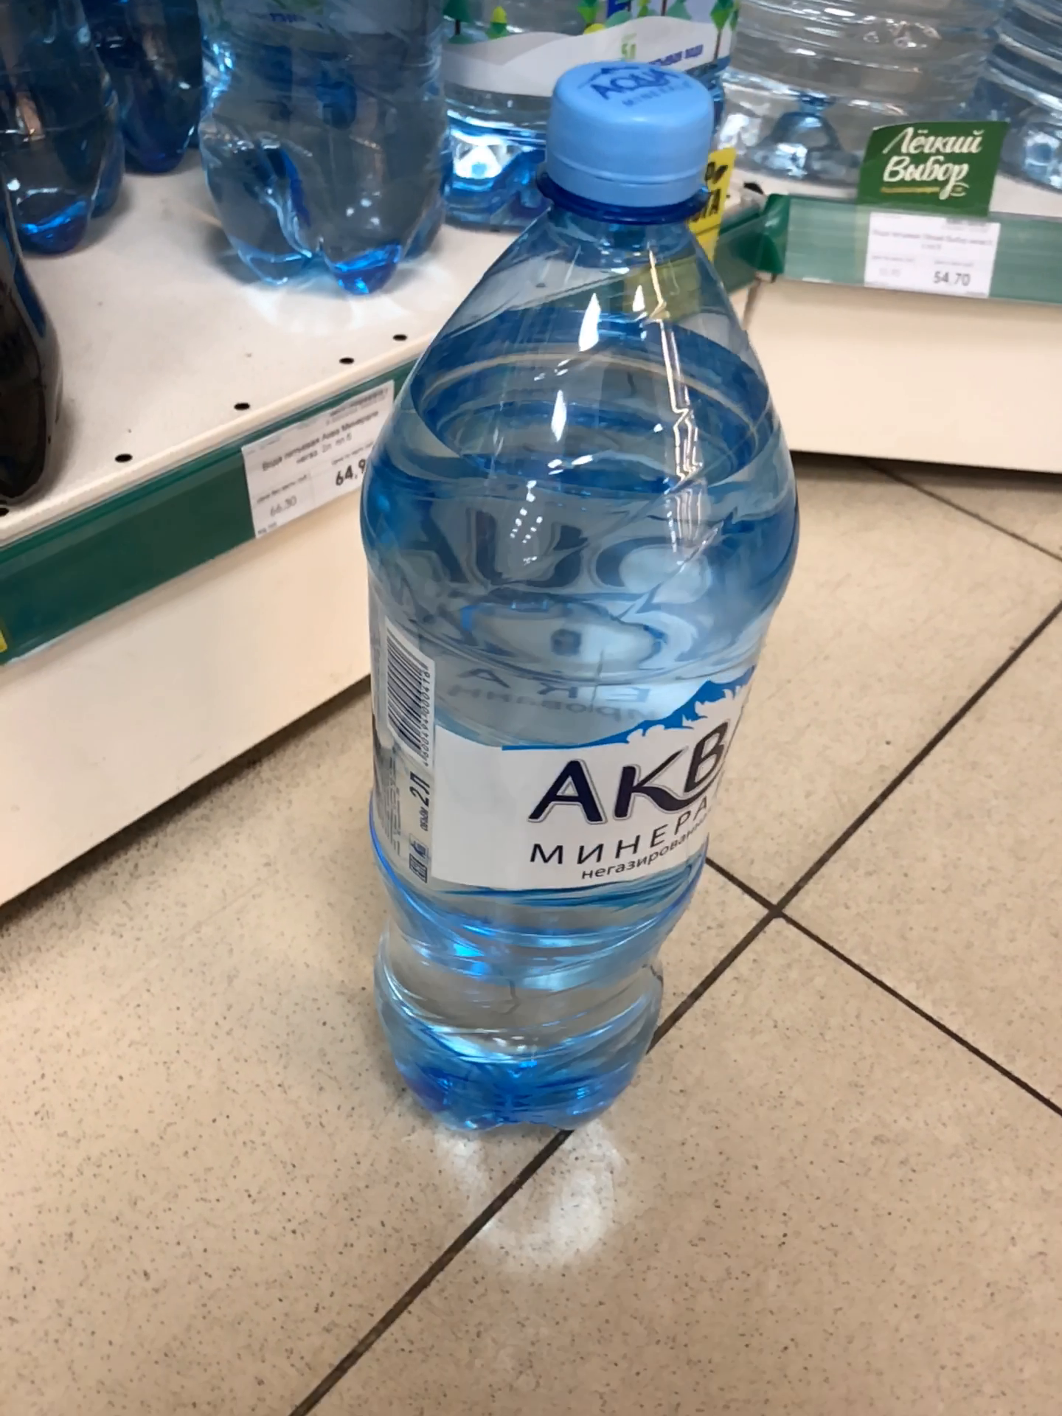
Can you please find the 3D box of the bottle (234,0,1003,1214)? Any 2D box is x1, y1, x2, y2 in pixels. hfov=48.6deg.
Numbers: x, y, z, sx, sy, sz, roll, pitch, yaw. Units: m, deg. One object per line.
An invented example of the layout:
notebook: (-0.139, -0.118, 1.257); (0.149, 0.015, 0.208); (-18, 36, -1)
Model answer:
bottle: (0.006, 0.006, 0.323); (0.106, 0.322, 0.088); (-27, 53, -28)
